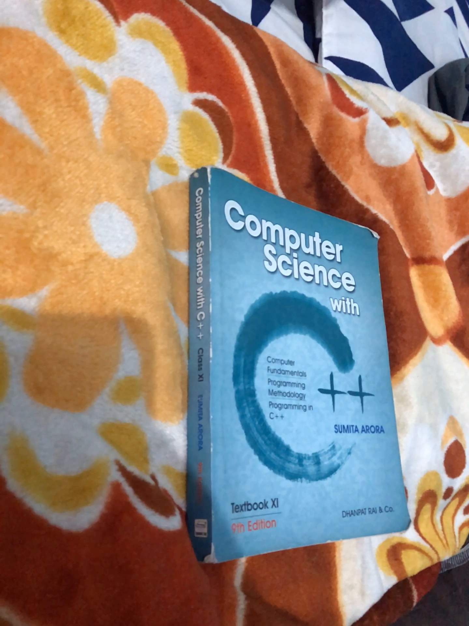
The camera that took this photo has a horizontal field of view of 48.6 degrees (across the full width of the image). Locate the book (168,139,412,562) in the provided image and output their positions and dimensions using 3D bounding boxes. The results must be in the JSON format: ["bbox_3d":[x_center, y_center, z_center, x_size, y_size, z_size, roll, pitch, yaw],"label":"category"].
[{"bbox_3d":[0.052,0.031,0.408,0.211,0.040,0.270,12,71,-39],"label":"book"}]
